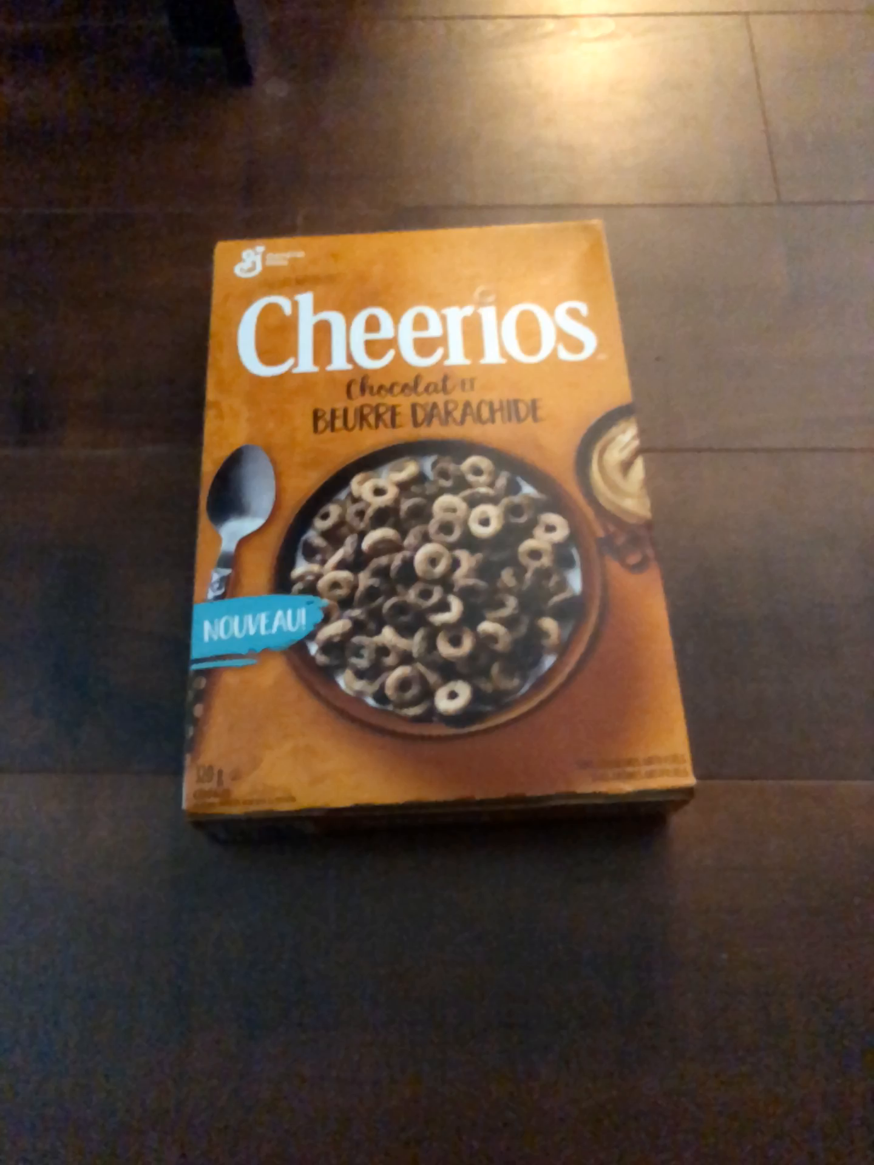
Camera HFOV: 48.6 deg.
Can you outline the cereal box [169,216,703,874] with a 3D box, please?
[{"bbox_3d":[-0.007,-0.029,0.452,0.200,0.060,0.301,-3,65,1],"label":"cereal box"}]
